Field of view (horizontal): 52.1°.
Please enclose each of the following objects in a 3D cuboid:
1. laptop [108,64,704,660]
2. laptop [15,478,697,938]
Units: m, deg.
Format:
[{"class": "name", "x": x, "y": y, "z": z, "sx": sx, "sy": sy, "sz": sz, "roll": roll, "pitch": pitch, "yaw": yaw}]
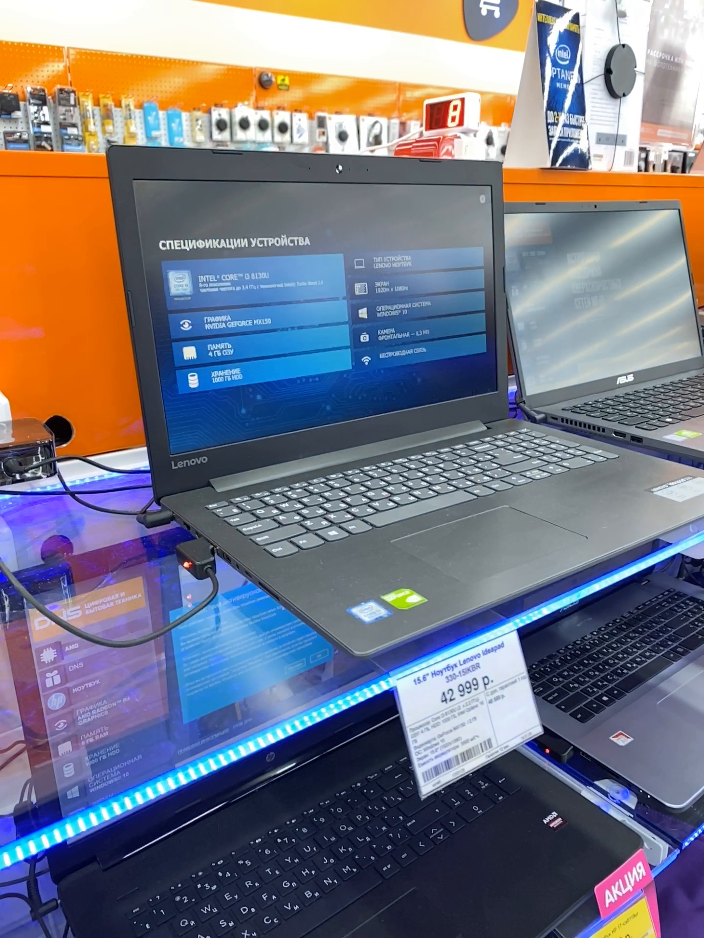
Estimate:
[{"class": "laptop", "x": 0.076, "y": -0.101, "z": 0.511, "sx": 0.377, "sy": 0.244, "sz": 0.290, "roll": -13, "pitch": 22, "yaw": -33}, {"class": "laptop", "x": 0.011, "y": 0.198, "z": 0.555, "sx": 0.401, "sy": 0.263, "sz": 0.272, "roll": -14, "pitch": 20, "yaw": -36}]
